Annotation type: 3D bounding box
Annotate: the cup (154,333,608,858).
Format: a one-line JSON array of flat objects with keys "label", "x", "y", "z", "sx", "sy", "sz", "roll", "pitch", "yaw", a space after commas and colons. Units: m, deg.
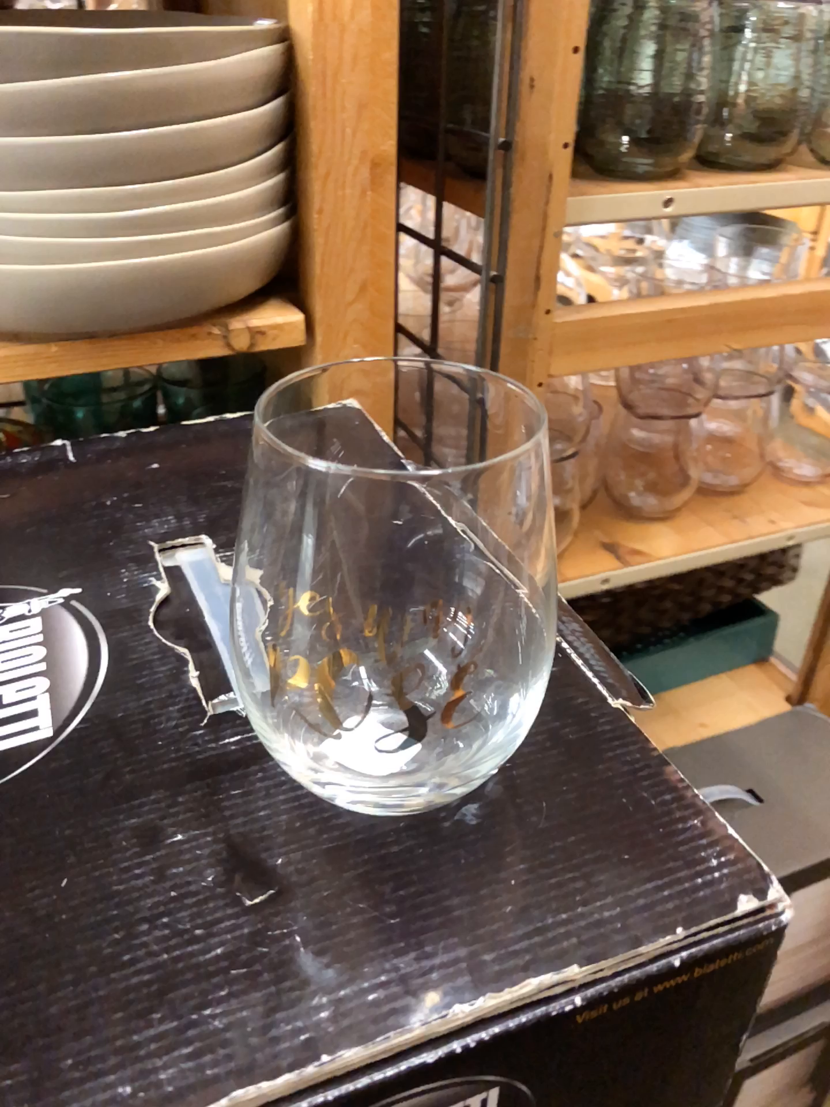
[{"label": "cup", "x": -0.007, "y": 0.009, "z": 0.261, "sx": 0.095, "sy": 0.114, "sz": 0.091, "roll": 1, "pitch": 32, "yaw": -1}]
